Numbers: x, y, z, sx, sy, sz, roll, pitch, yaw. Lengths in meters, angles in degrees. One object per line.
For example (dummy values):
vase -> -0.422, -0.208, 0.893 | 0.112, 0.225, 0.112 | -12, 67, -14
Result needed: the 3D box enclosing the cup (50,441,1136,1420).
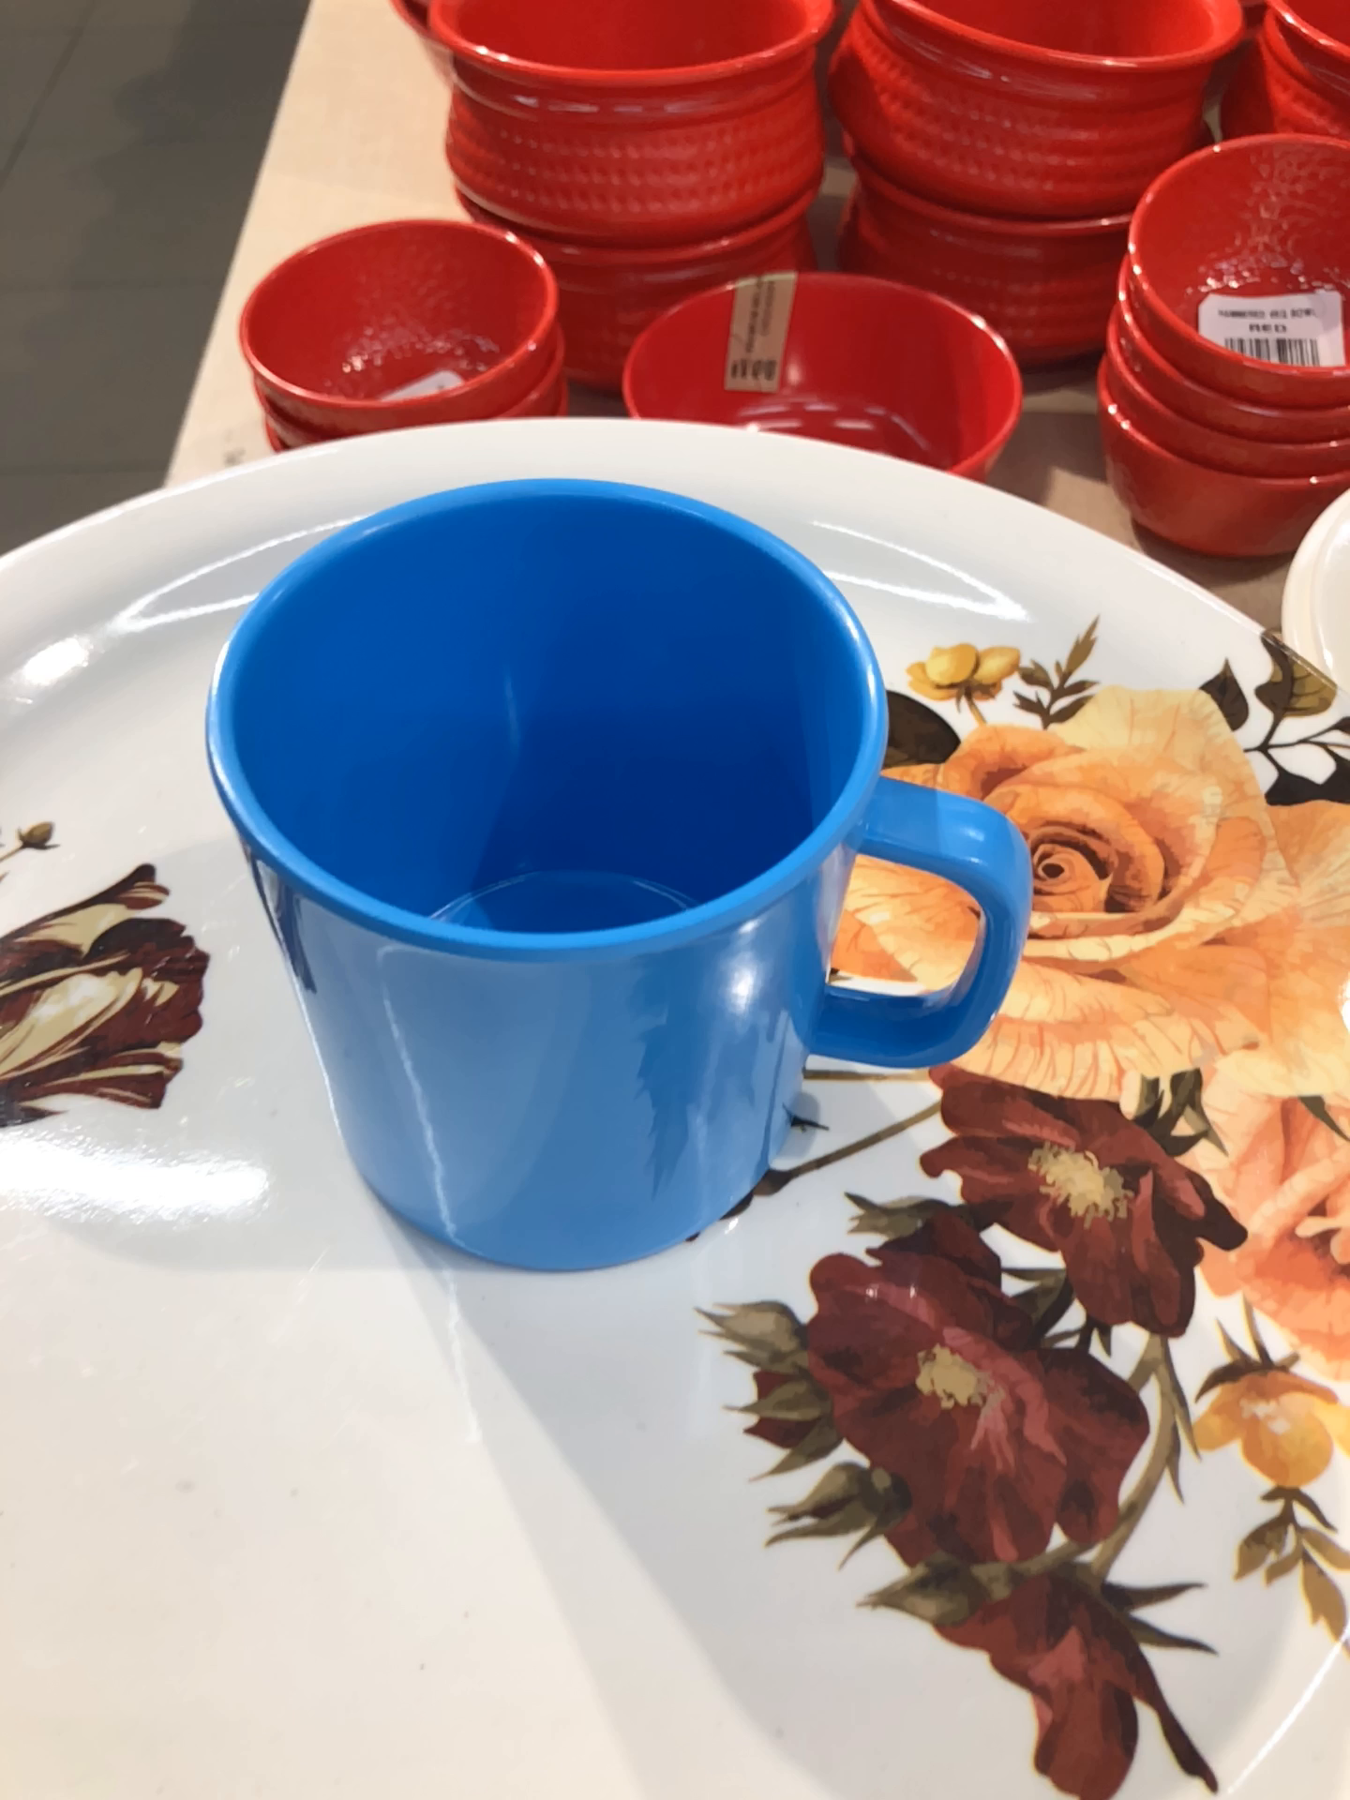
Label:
cup -> -0.004, 0.005, 0.216 | 0.110, 0.089, 0.080 | 12, 53, 11
